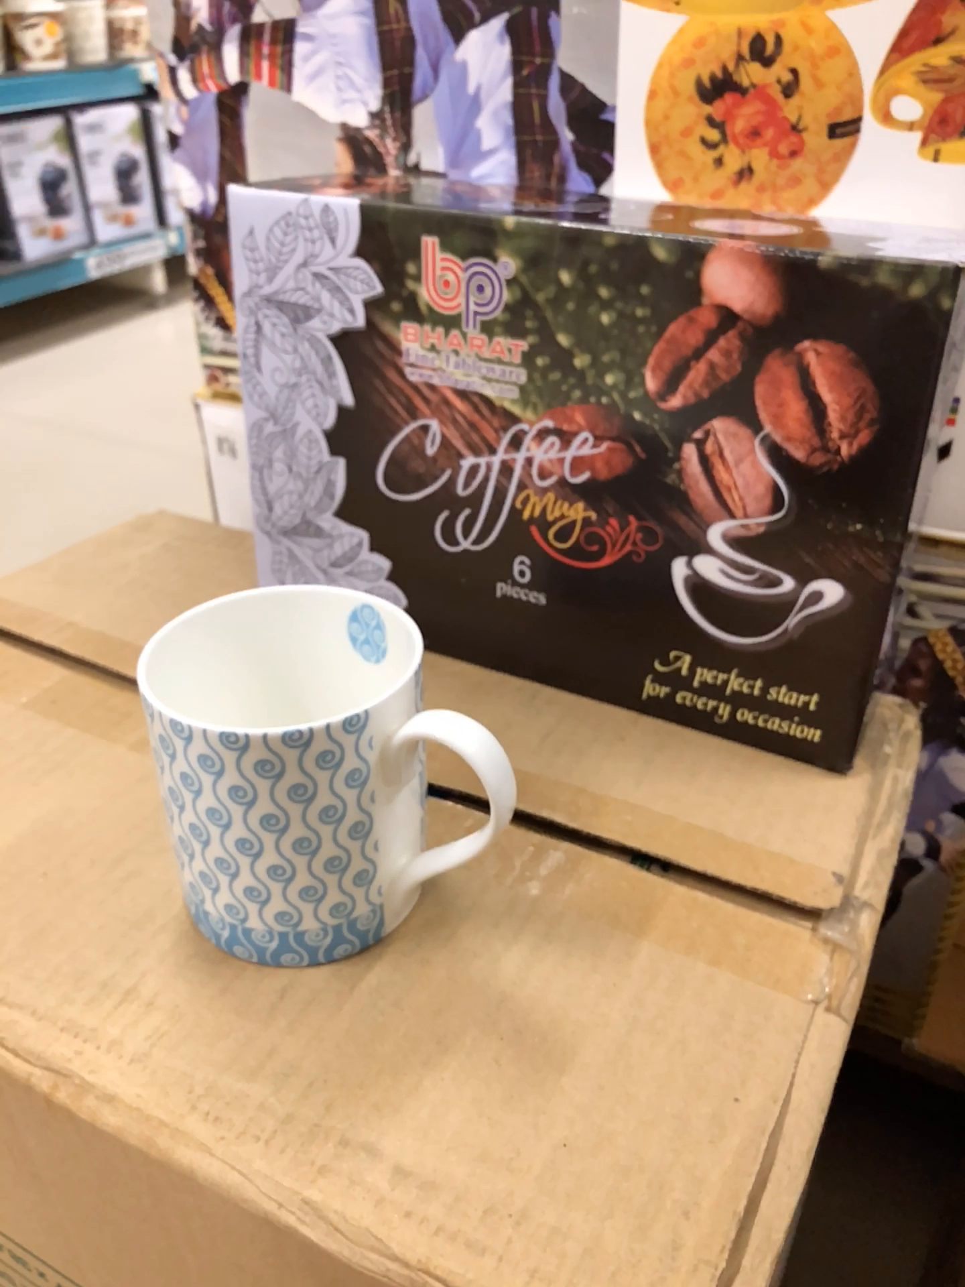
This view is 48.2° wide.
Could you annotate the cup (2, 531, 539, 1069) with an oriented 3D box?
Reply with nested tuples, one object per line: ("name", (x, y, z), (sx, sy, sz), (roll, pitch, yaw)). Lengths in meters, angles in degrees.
("cup", (-0.050, 0.036, 0.288), (0.110, 0.089, 0.070), (16, 36, 24))
